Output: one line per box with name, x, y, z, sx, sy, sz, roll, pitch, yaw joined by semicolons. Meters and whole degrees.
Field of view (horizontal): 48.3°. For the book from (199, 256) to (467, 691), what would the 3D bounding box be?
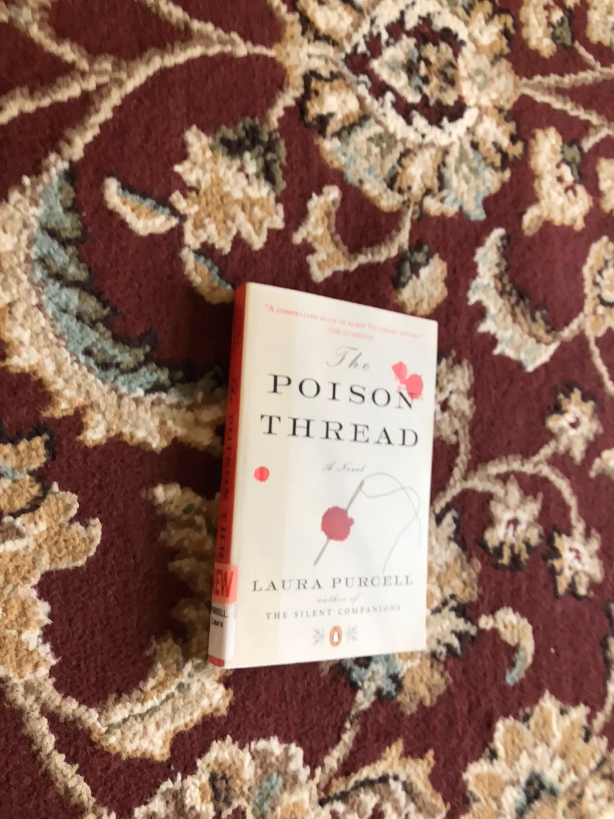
book;0.020;0.034;0.364;0.141;0.030;0.200;6;83;-30
